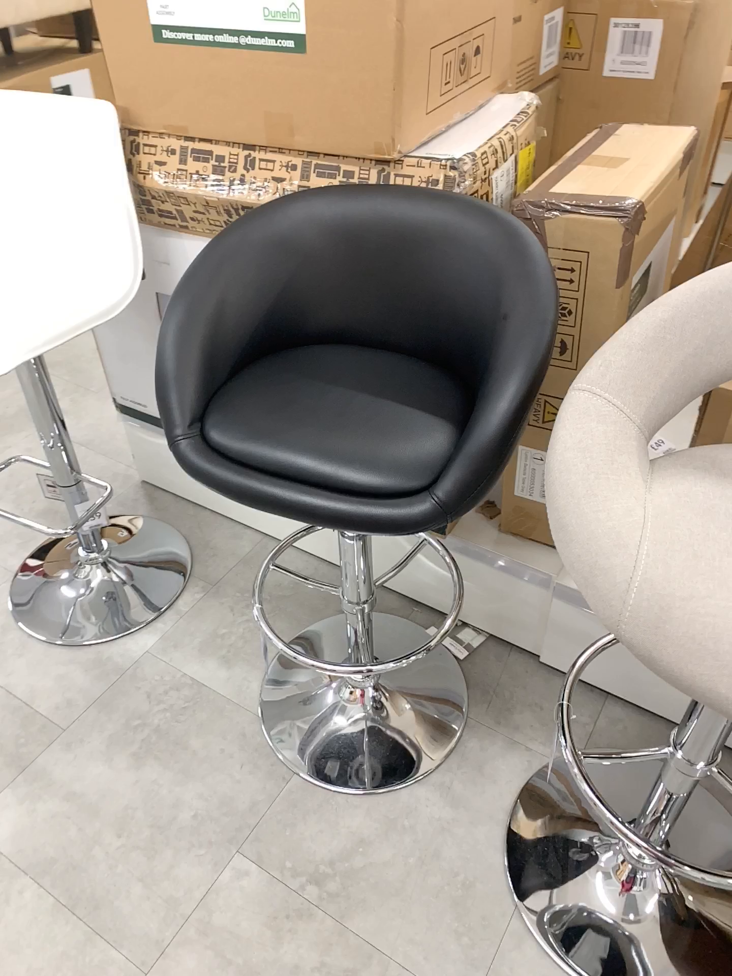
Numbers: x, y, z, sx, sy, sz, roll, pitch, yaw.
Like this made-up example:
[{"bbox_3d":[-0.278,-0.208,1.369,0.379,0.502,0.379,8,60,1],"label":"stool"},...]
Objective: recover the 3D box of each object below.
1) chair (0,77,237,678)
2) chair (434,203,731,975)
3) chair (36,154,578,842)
[{"bbox_3d":[-0.611,-0.177,1.398,0.445,0.947,0.443,15,43,20],"label":"chair"},{"bbox_3d":[0.382,0.222,0.893,0.445,0.918,0.433,15,43,20],"label":"chair"},{"bbox_3d":[-0.036,0.033,1.148,0.475,0.868,0.443,17,43,22],"label":"chair"}]
